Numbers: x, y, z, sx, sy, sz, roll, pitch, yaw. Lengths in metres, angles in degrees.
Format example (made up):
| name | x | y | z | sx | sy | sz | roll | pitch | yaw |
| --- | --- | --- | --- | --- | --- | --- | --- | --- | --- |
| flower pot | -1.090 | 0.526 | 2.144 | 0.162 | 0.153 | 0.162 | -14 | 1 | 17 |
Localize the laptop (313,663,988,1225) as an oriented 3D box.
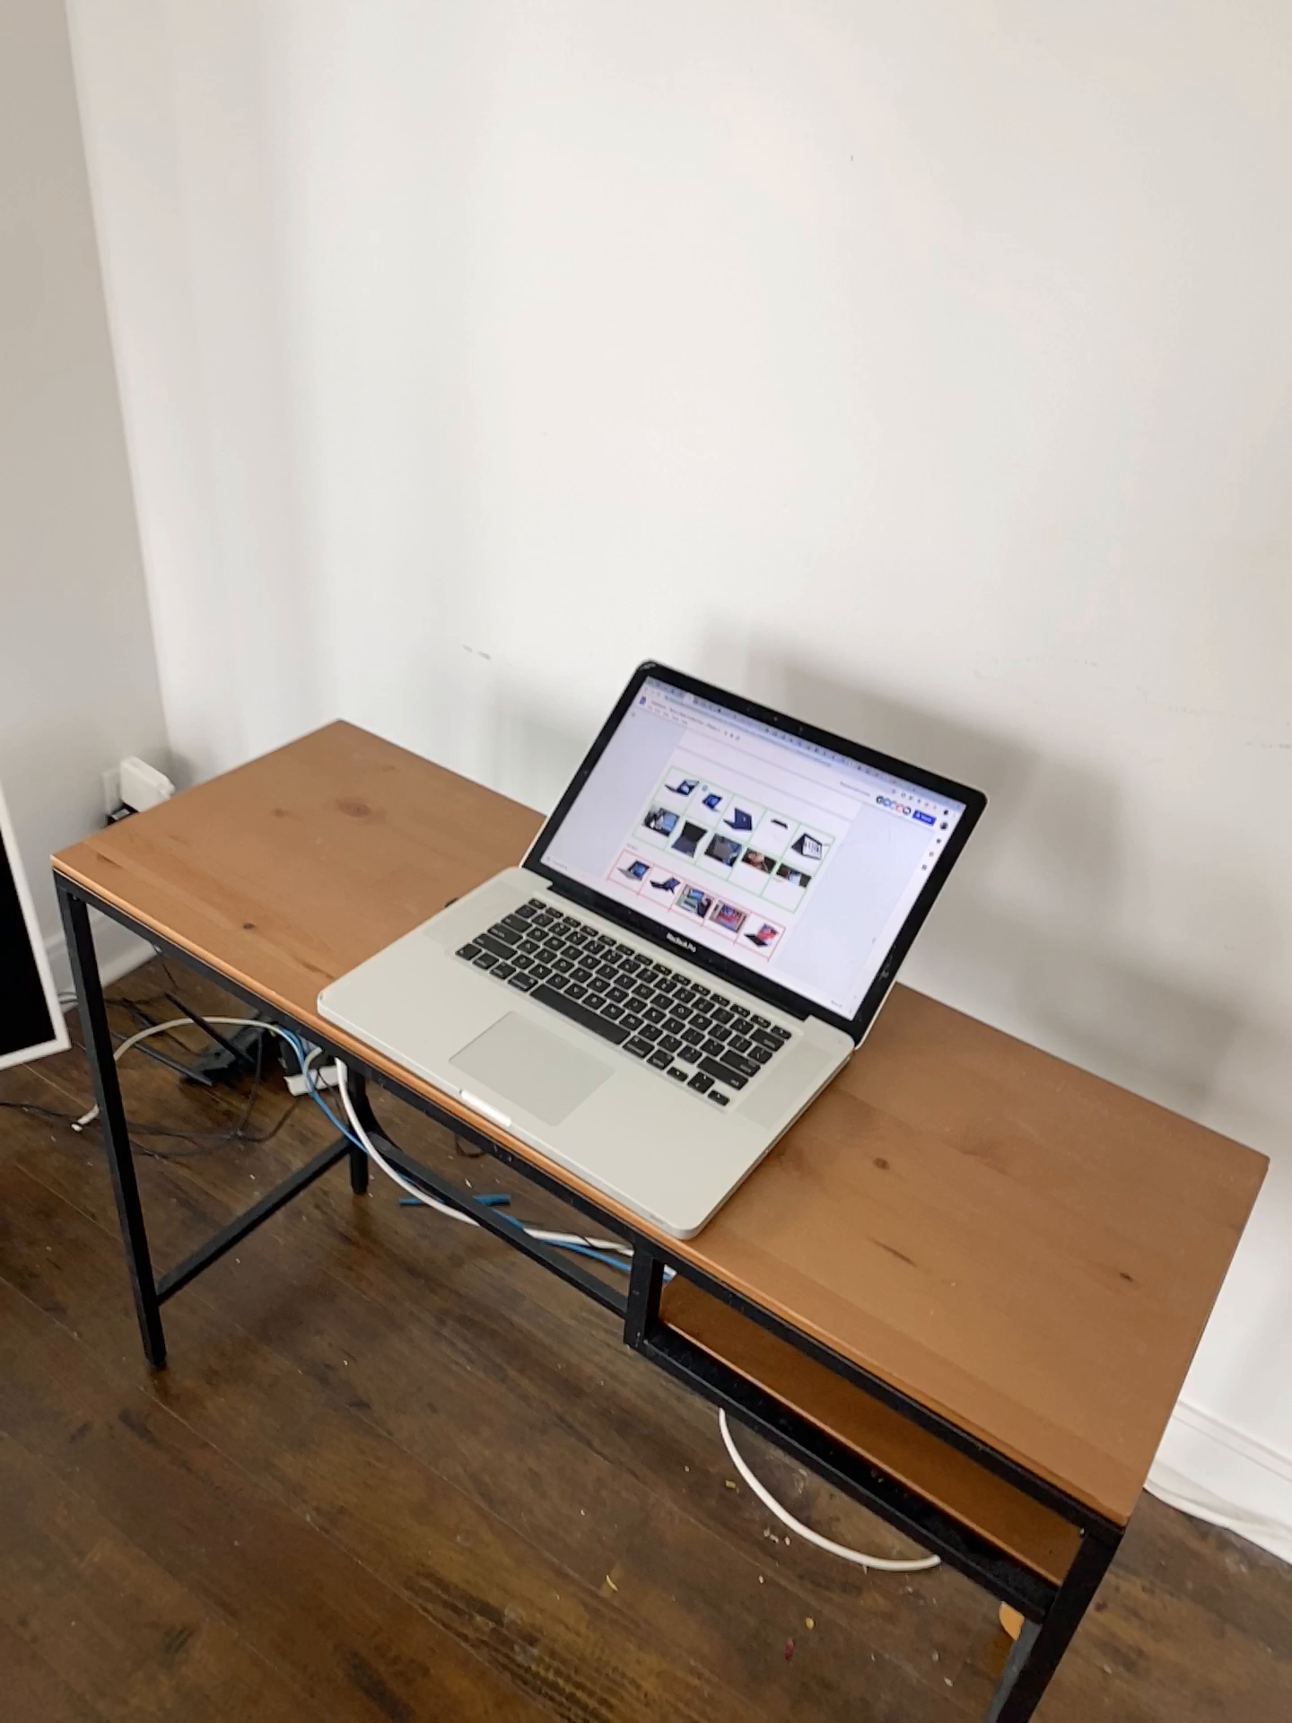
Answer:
| name | x | y | z | sx | sy | sz | roll | pitch | yaw |
| --- | --- | --- | --- | --- | --- | --- | --- | --- | --- |
| laptop | 0.017 | 0.029 | 1.102 | 0.360 | 0.155 | 0.437 | 25 | 39 | 26 |
